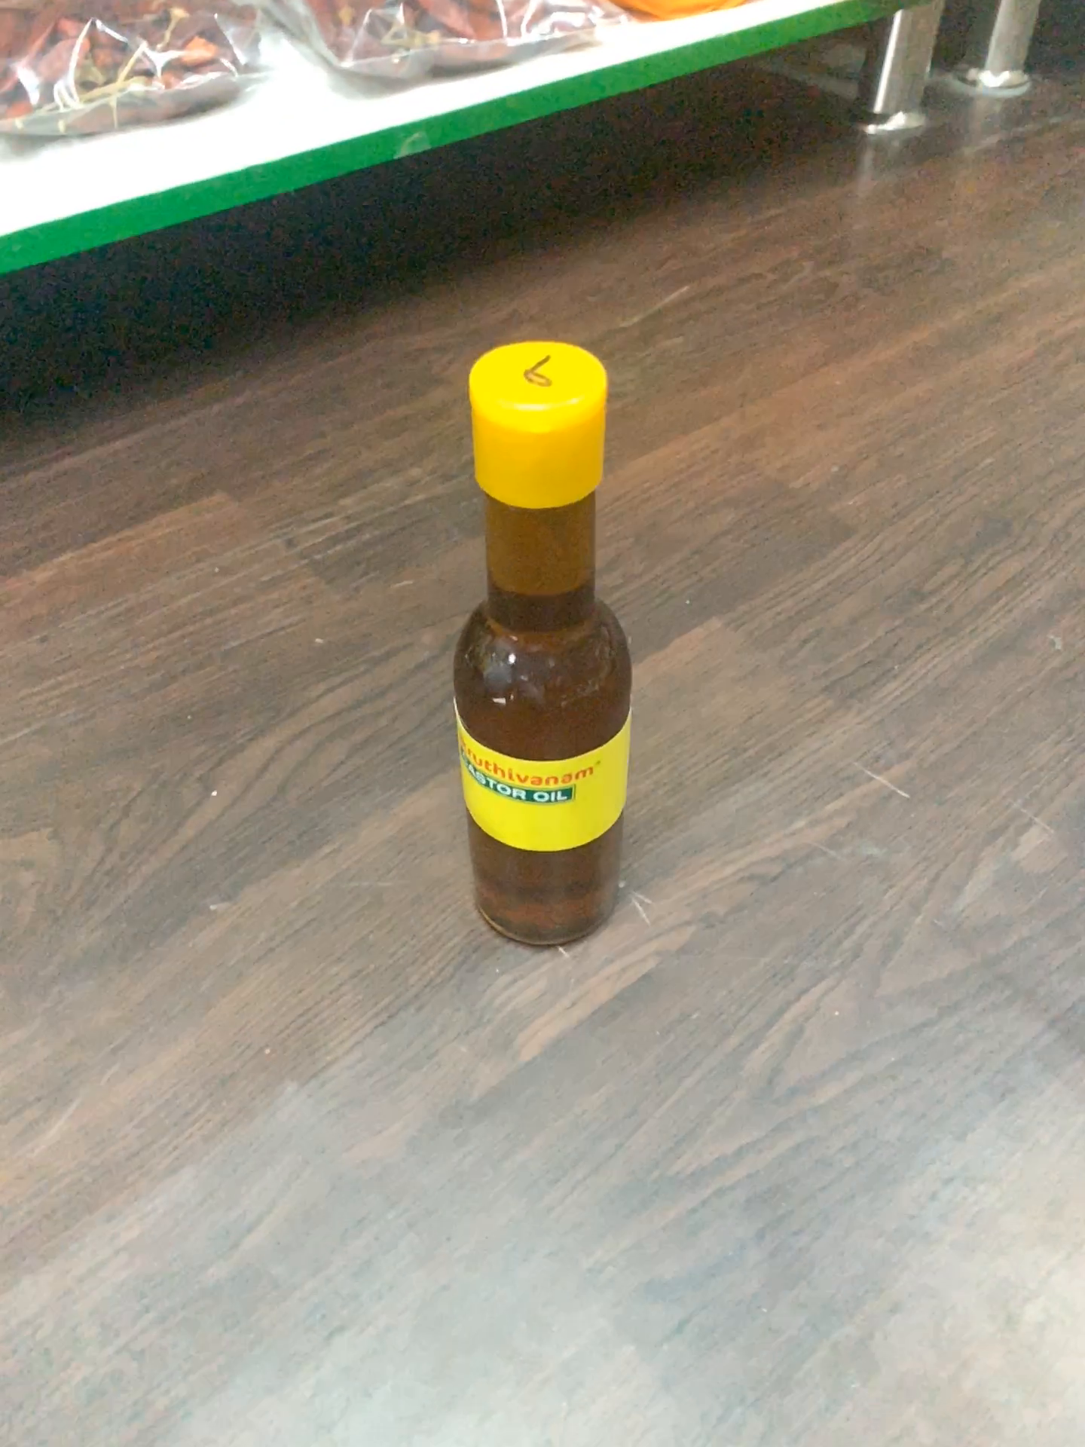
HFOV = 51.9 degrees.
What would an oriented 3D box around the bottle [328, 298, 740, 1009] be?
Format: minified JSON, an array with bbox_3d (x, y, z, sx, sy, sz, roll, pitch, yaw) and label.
[{"bbox_3d":[0.000,-0.008,0.284,0.060,0.169,0.060,0,46,0],"label":"bottle"}]
